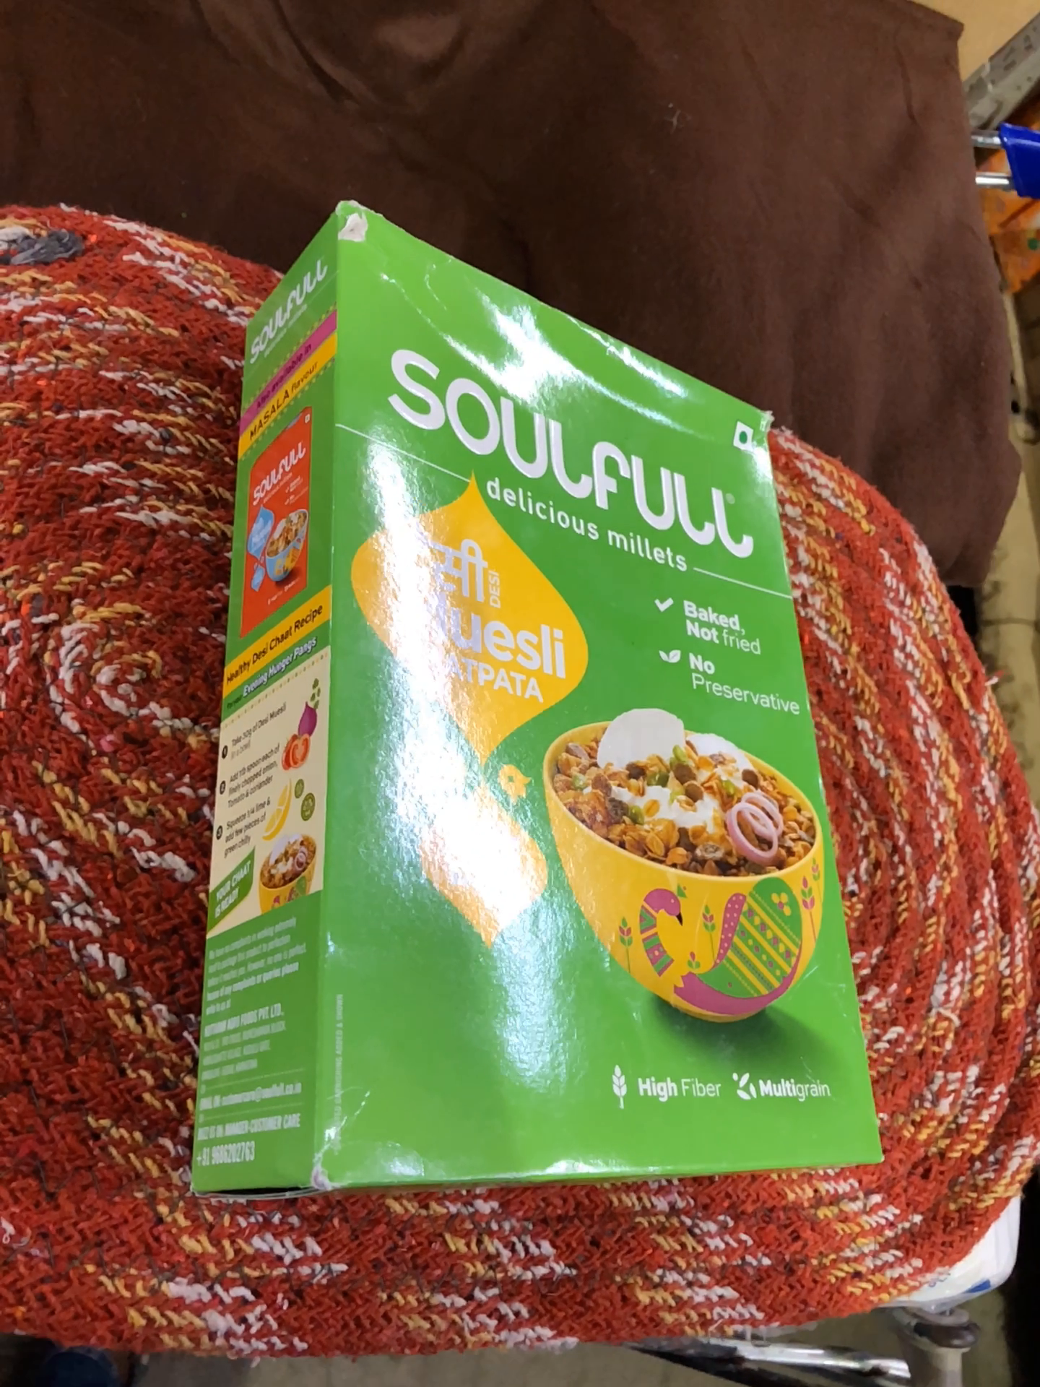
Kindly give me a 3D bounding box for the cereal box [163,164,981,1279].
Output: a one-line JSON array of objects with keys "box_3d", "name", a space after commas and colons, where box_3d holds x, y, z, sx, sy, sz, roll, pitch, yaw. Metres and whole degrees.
[{"box_3d": [0.012, 0.008, 0.296, 0.170, 0.060, 0.241, 14, 58, -33], "name": "cereal box"}]
